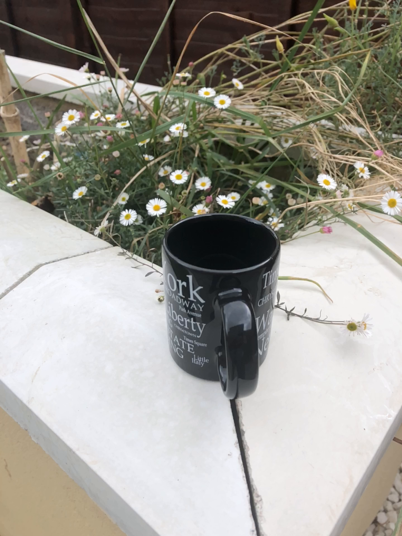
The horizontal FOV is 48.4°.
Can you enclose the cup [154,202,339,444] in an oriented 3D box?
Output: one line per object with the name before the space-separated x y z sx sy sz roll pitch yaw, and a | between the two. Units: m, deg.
cup | 0.013 0.020 0.218 0.060 0.069 0.091 -5 33 -10
